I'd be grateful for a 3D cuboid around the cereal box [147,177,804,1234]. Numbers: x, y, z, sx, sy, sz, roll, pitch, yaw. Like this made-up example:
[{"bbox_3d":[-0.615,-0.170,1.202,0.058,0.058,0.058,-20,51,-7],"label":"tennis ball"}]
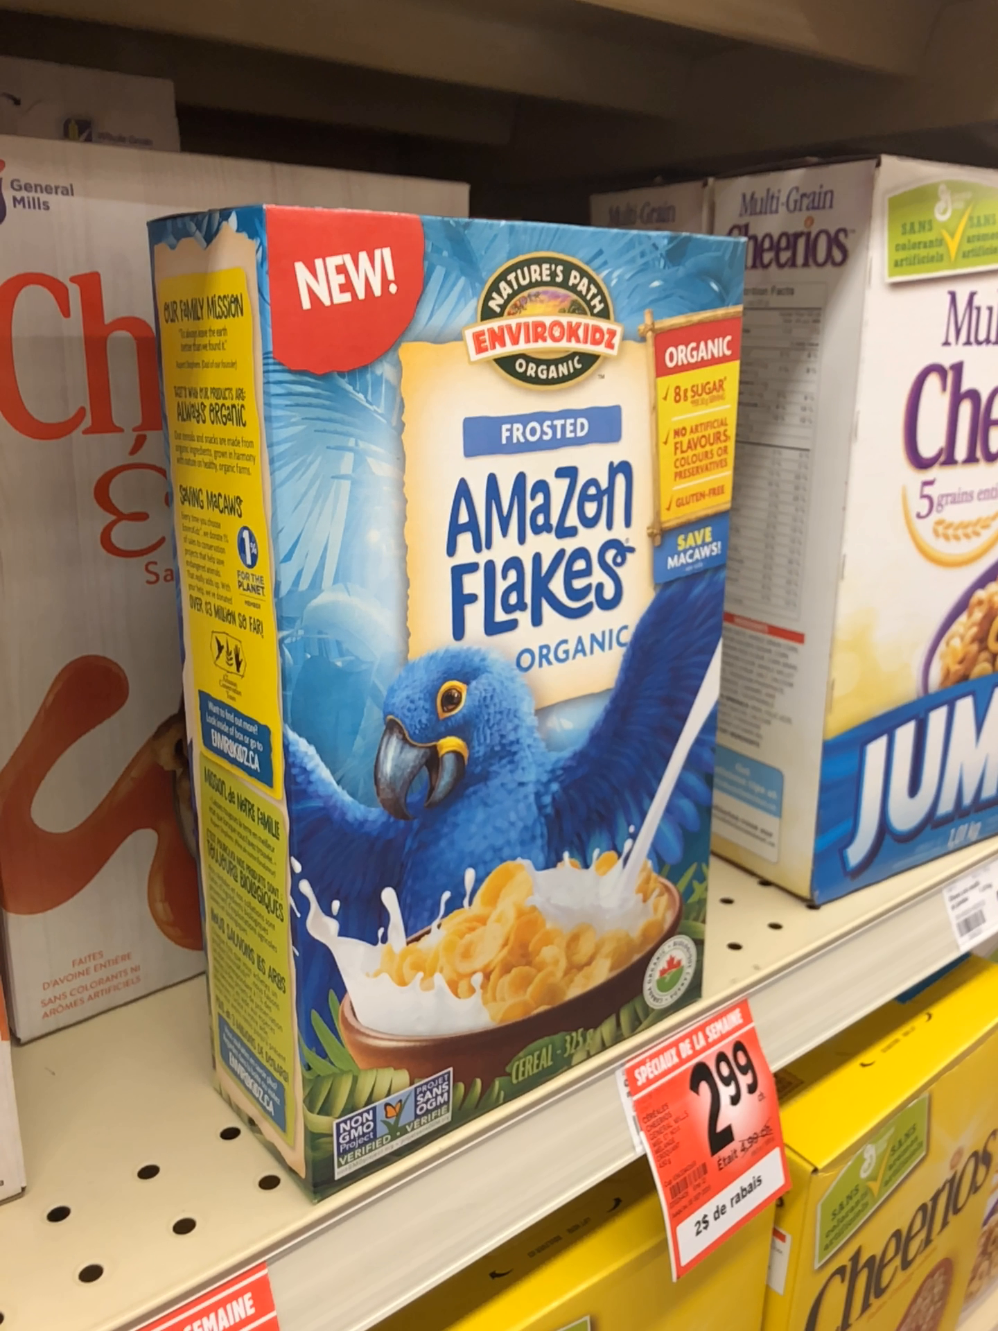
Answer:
[{"bbox_3d":[0.001,0.005,0.316,0.170,0.249,0.050,-13,22,-37],"label":"cereal box"}]
